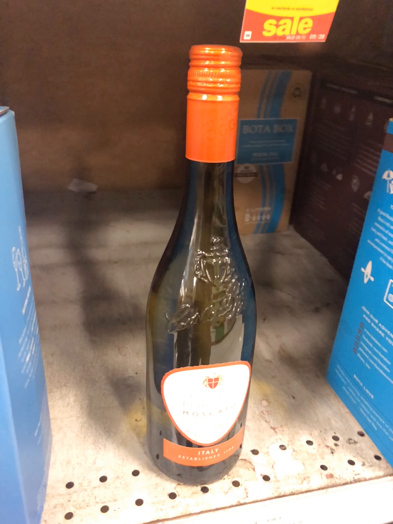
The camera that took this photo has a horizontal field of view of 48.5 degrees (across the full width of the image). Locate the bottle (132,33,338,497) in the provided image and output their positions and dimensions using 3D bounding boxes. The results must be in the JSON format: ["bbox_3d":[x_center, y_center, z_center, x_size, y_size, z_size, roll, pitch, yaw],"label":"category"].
[{"bbox_3d":[0.006,0.023,0.285,0.080,0.299,0.070,-6,31,-15],"label":"bottle"}]
